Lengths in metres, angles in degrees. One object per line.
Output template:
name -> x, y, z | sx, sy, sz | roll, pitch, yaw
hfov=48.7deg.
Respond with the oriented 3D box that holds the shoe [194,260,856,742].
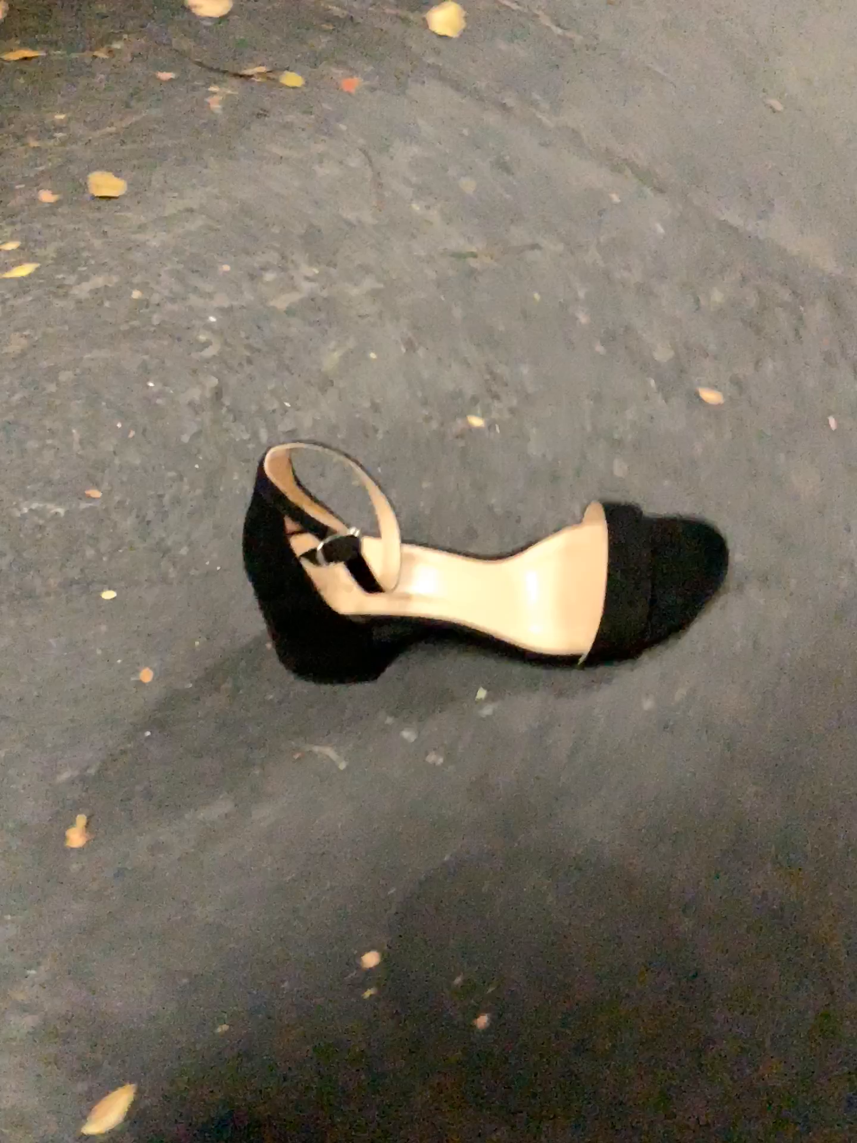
shoe -> 0.043, -0.030, 0.451 | 0.270, 0.140, 0.120 | -10, 51, -1
